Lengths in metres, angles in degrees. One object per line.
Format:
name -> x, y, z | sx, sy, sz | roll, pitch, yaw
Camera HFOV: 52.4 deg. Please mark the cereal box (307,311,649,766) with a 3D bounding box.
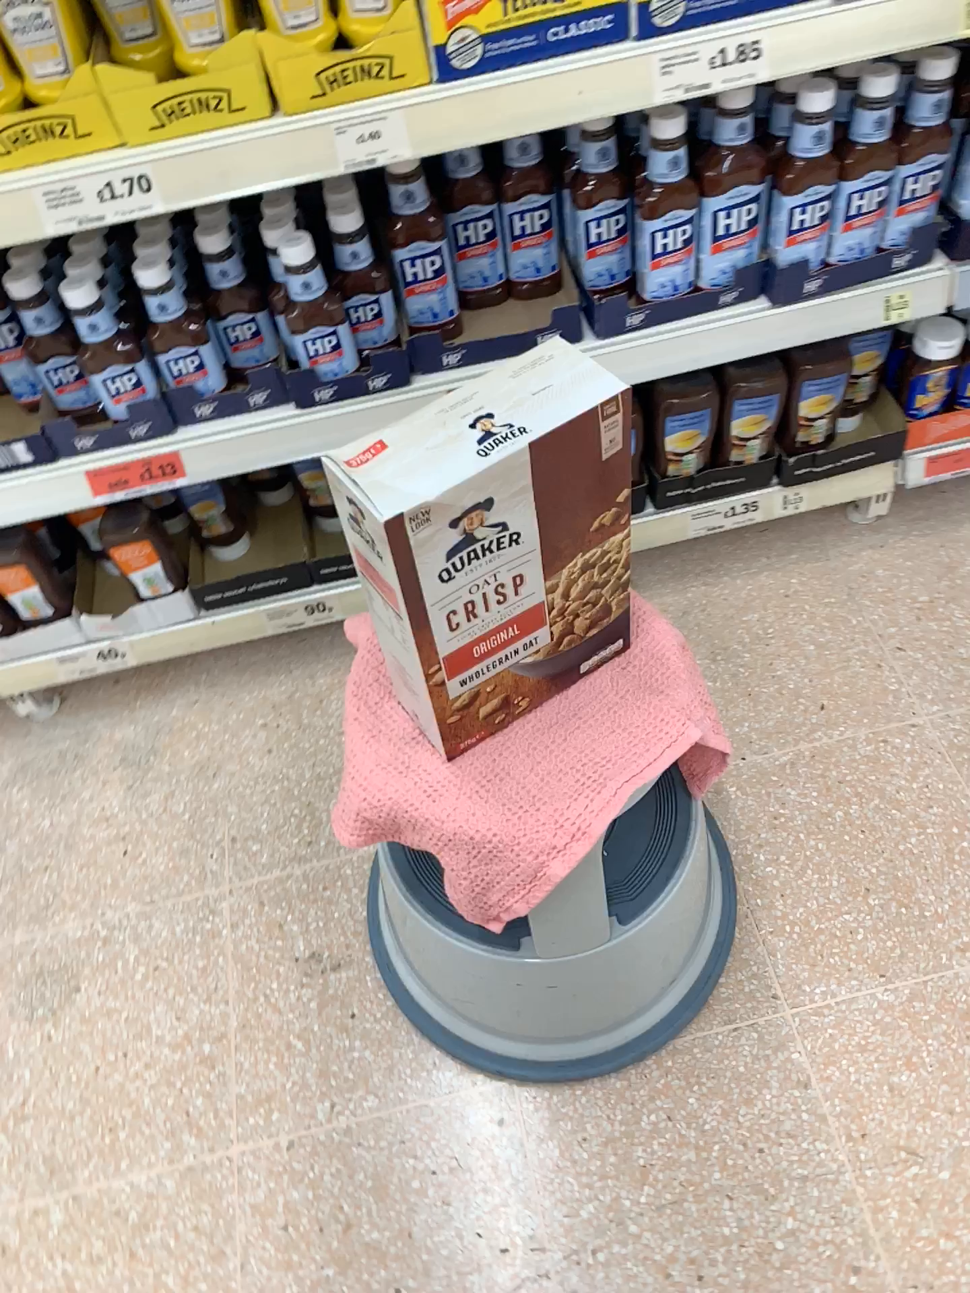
cereal box -> 0.010, -0.064, 0.702 | 0.190, 0.268, 0.091 | -31, 56, -16
